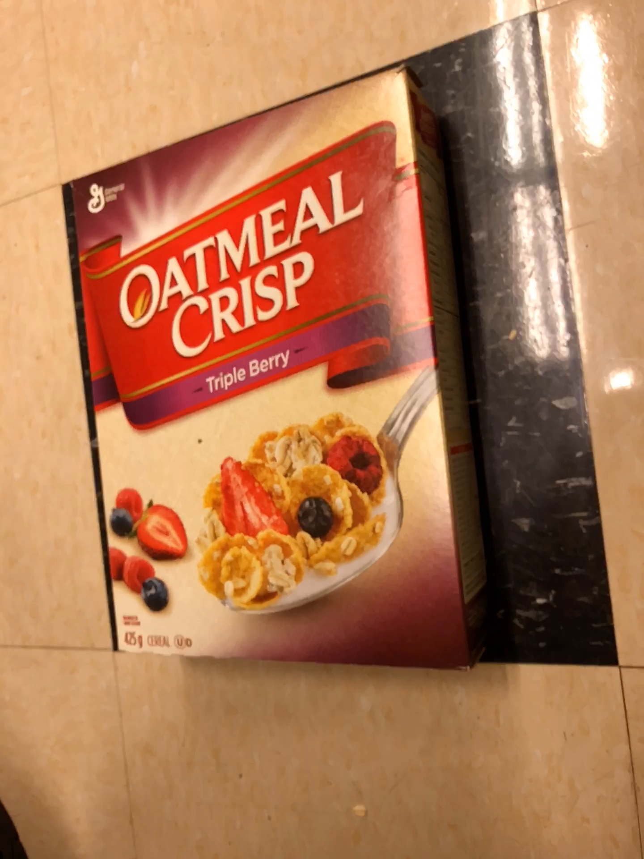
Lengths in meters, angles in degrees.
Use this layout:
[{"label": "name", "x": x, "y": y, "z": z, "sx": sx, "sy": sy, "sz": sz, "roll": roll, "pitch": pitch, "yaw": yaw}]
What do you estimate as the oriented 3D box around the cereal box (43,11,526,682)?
[{"label": "cereal box", "x": -0.025, "y": -0.023, "z": 0.342, "sx": 0.201, "sy": 0.070, "sz": 0.250, "roll": -6, "pitch": 88, "yaw": 27}]
